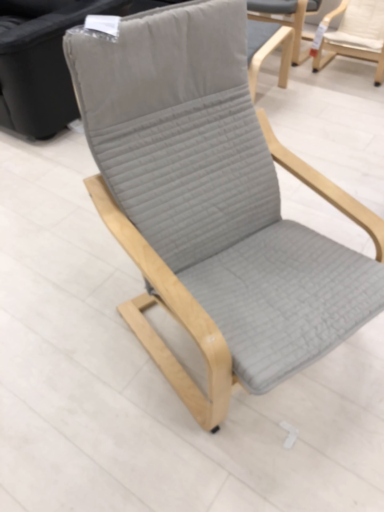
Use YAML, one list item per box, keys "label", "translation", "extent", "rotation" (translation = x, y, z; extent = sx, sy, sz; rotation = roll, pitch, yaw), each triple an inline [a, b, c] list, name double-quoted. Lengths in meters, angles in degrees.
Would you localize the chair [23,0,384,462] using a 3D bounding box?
- label: "chair"
  translation: [0.161, -0.135, 1.158]
  extent: [0.731, 0.997, 0.702]
  rotation: [-26, 51, -22]
